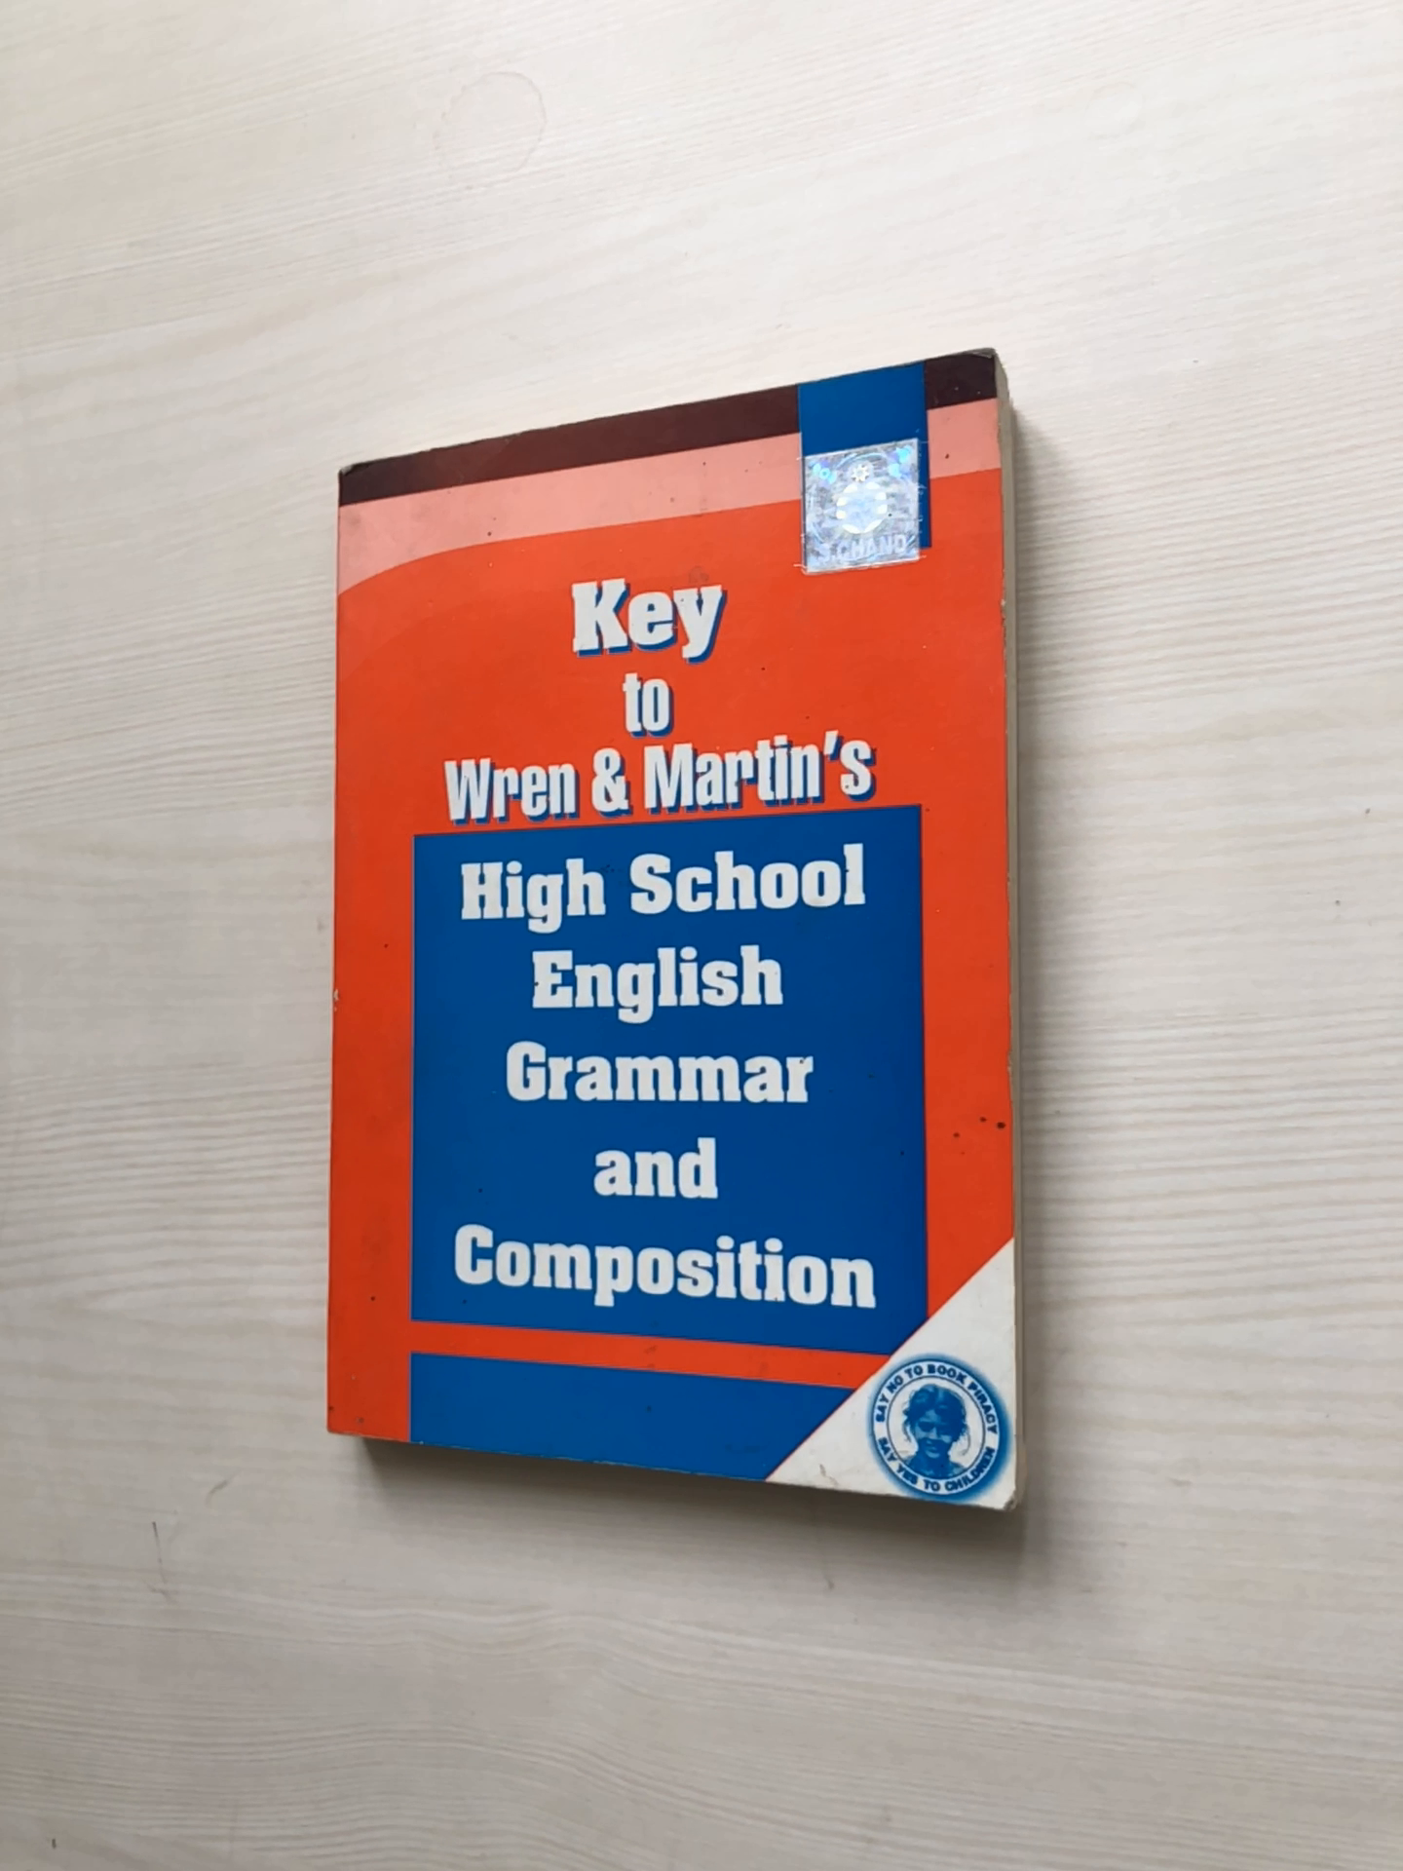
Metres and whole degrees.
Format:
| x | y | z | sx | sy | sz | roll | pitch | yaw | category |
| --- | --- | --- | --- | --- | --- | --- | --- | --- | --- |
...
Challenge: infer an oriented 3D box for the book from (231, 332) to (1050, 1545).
| x | y | z | sx | sy | sz | roll | pitch | yaw | category |
| --- | --- | --- | --- | --- | --- | --- | --- | --- | --- |
| -0.011 | 0.000 | 0.257 | 0.130 | 0.030 | 0.170 | -1 | 87 | 21 | book |
